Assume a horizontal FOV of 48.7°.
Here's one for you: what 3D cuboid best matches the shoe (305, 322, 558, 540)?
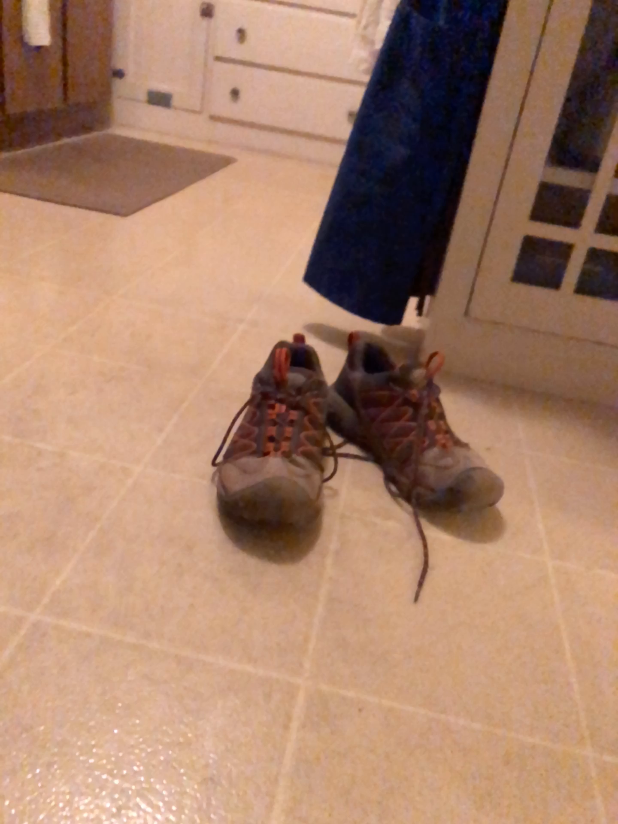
[{"bbox_3d":[0.133,0.006,0.835,0.127,0.121,0.283,-11,35,-33],"label":"shoe"}]

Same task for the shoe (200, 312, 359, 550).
[{"bbox_3d":[-0.022,0.004,0.780,0.127,0.121,0.294,10,29,1],"label":"shoe"}]
